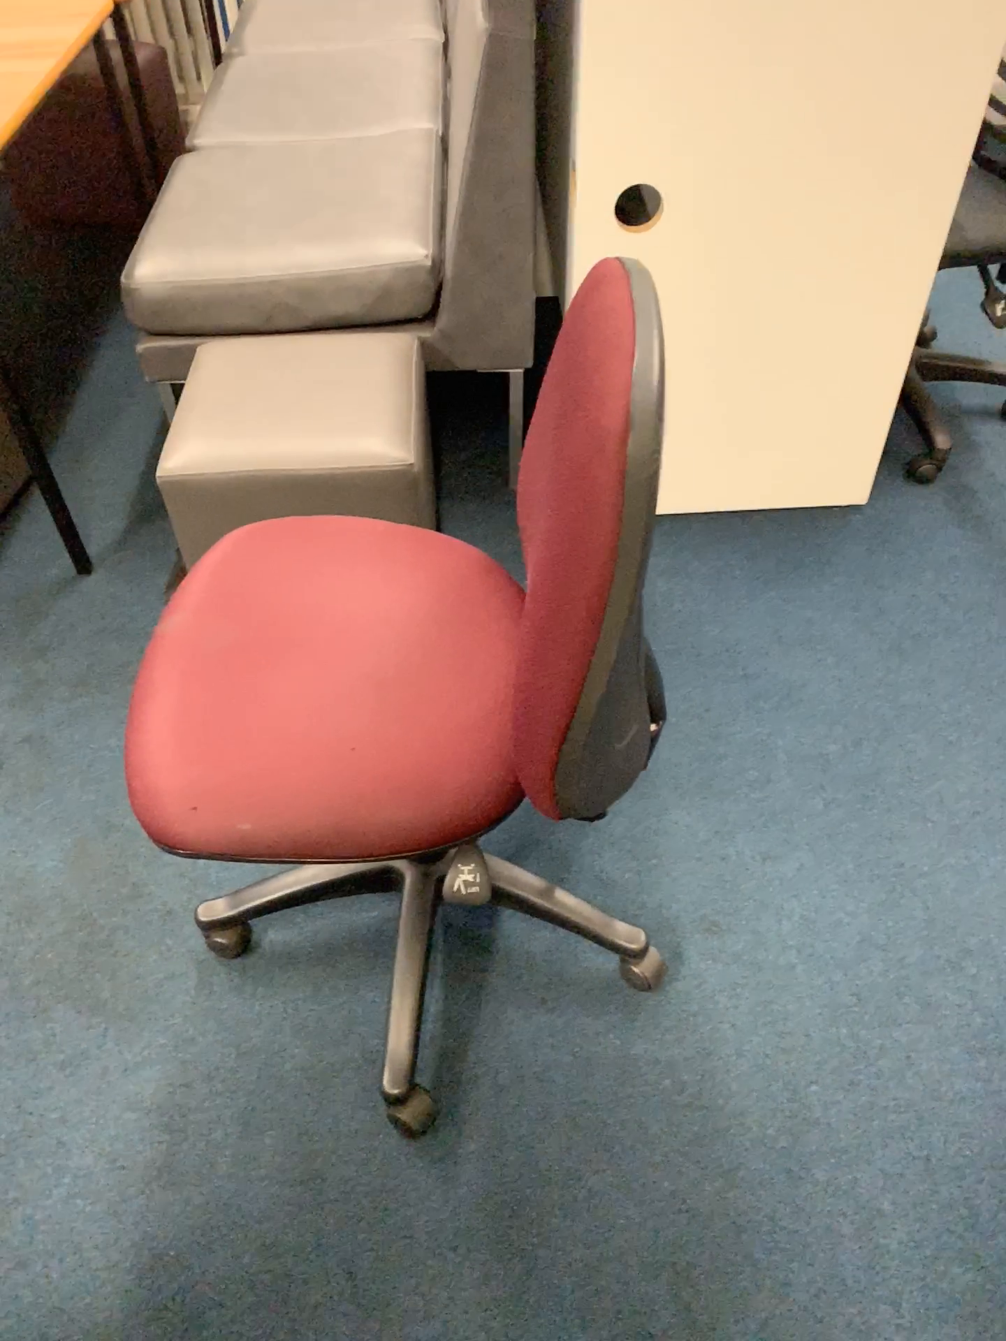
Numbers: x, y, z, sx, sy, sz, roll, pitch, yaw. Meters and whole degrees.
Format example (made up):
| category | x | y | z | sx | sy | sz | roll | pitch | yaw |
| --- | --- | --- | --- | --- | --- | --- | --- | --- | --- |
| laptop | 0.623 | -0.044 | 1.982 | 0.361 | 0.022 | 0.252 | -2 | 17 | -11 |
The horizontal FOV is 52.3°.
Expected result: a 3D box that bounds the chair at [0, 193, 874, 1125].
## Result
| category | x | y | z | sx | sy | sz | roll | pitch | yaw |
| --- | --- | --- | --- | --- | --- | --- | --- | --- | --- |
| chair | -0.101 | 0.008 | 1.134 | 0.690 | 0.782 | 0.656 | 1 | 46 | 3 |
